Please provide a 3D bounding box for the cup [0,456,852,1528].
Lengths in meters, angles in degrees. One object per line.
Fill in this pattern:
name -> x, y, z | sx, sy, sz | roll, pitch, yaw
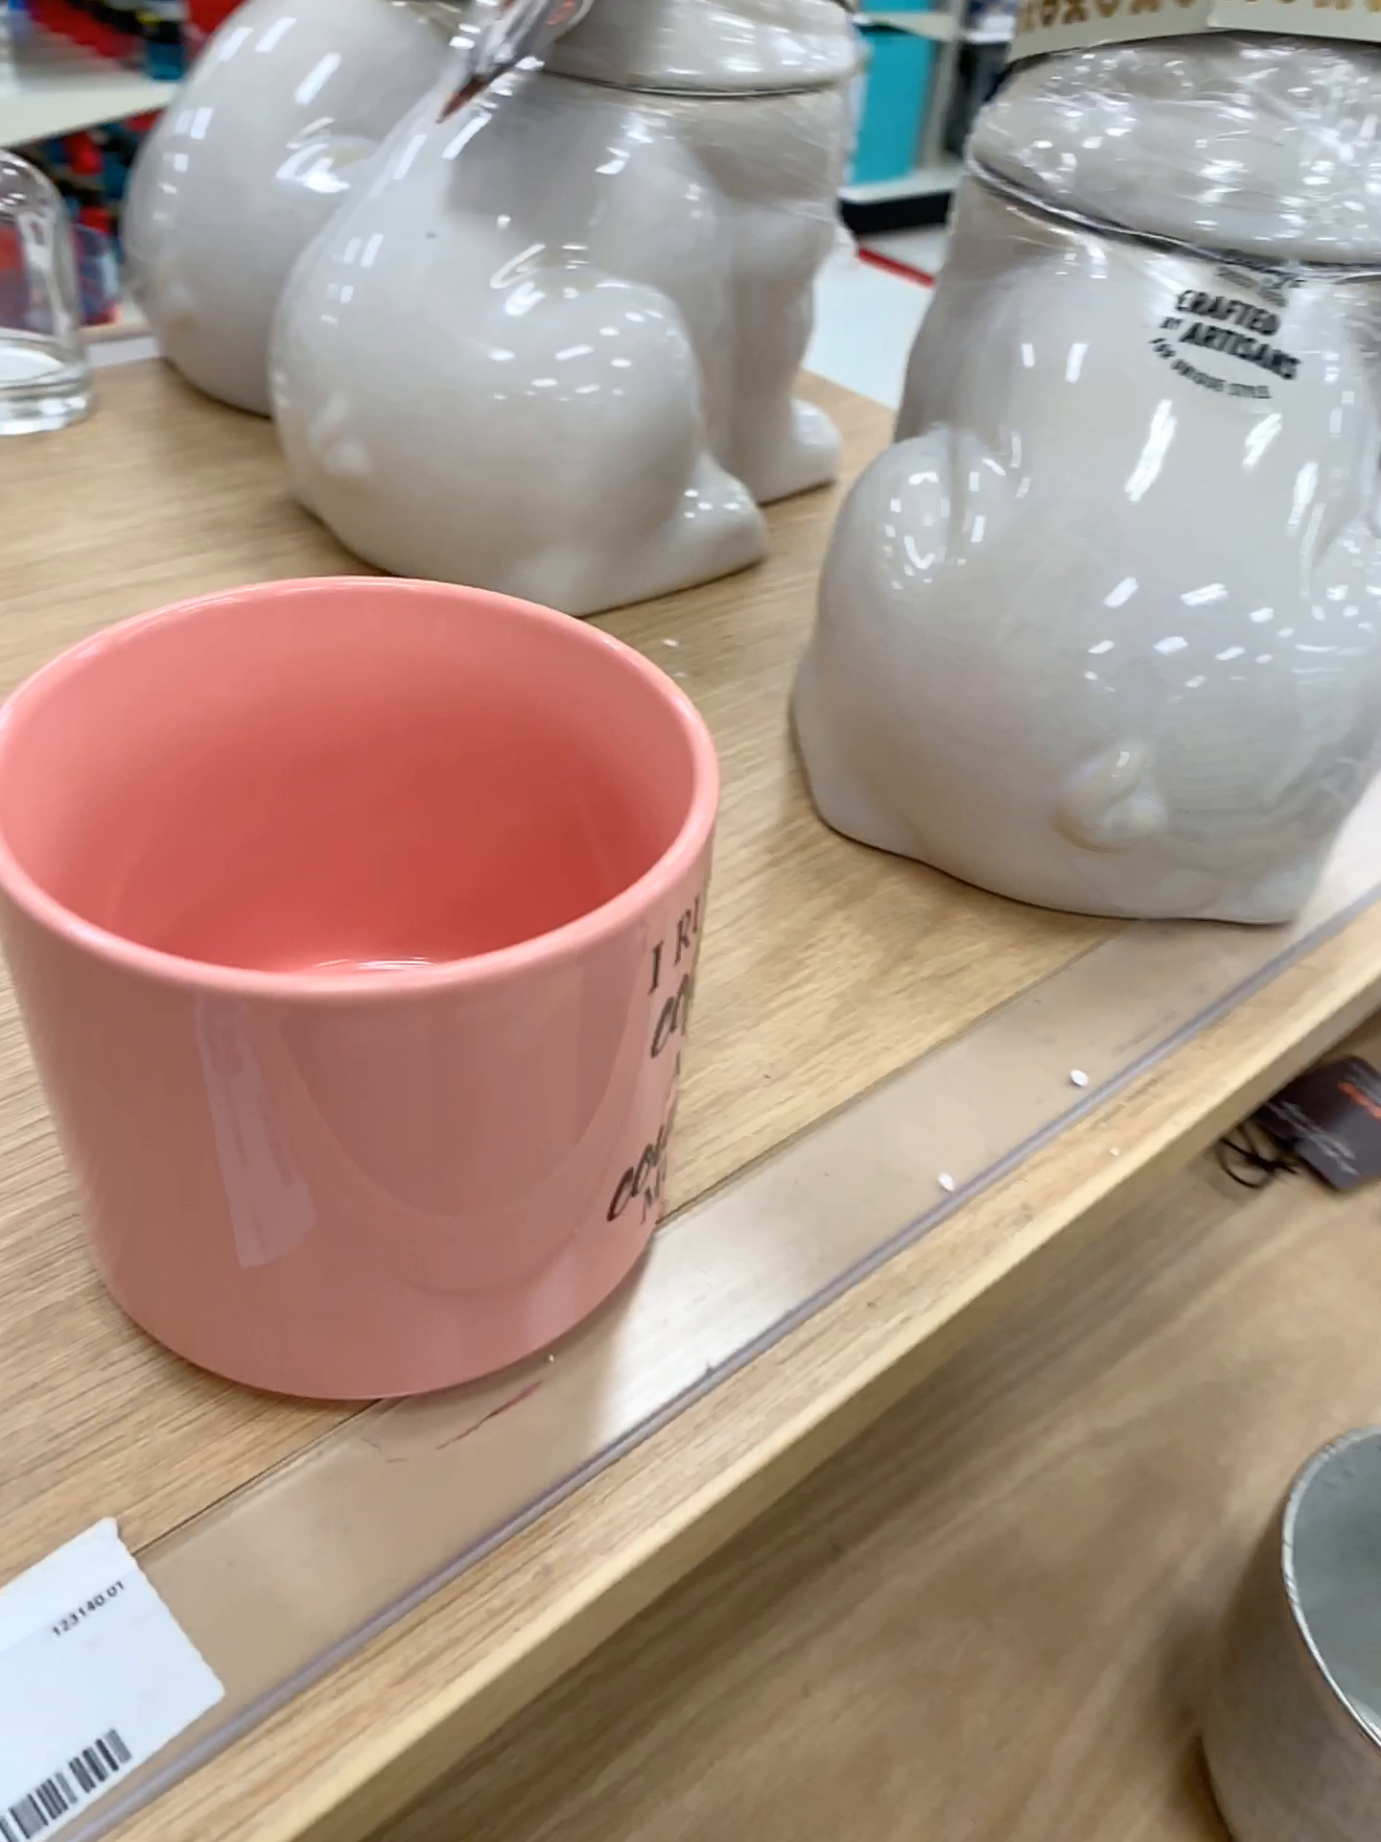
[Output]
cup -> -0.042, 0.000, 0.230 | 0.104, 0.085, 0.133 | 13, 40, 7
